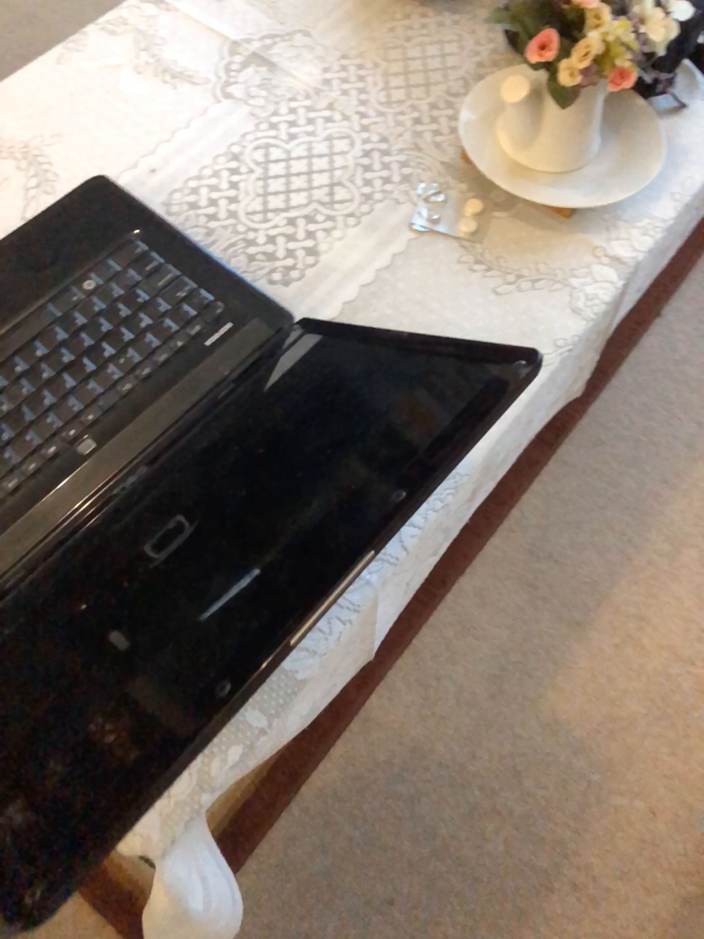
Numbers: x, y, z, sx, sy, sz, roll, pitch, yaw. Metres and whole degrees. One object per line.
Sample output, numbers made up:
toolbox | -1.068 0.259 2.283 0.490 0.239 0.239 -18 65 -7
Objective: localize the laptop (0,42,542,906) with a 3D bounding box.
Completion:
laptop | -0.174 -0.040 0.490 0.419 0.122 0.364 37 69 17
